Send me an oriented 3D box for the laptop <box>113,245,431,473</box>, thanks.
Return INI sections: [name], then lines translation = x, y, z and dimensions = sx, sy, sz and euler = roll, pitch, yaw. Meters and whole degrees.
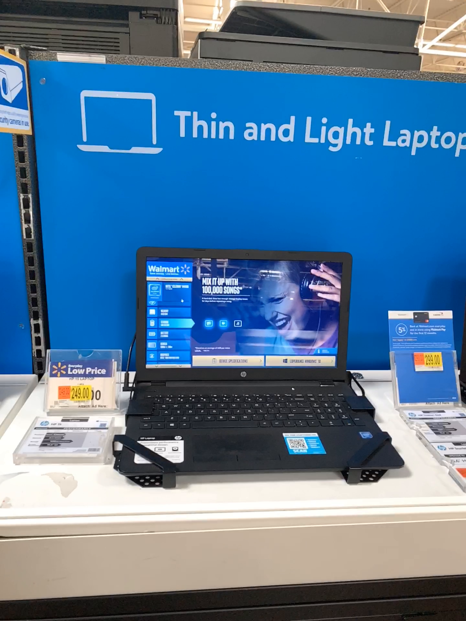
[laptop]
translation = 0.030, 0.047, 0.704
dimensions = 0.363, 0.225, 0.287
euler = 0, 18, -7
